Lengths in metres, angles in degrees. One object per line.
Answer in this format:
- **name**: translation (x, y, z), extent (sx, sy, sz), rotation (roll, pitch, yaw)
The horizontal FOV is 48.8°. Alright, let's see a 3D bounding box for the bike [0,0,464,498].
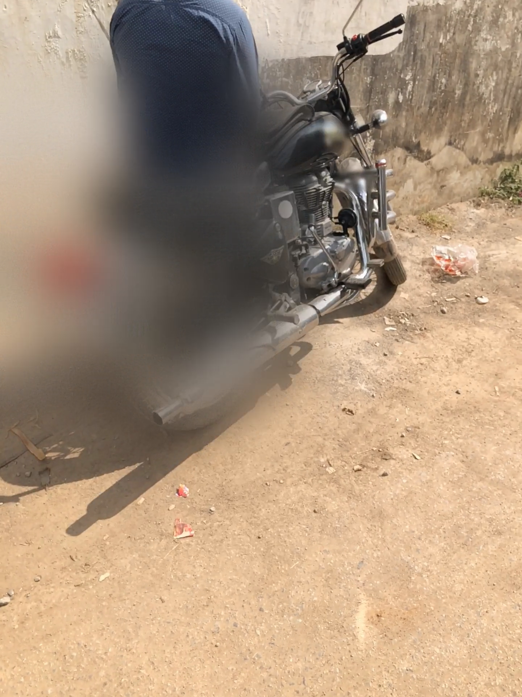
- **bike**: translation (0.002, -0.711, 2.399), extent (0.881, 1.317, 1.944), rotation (20, 38, 28)
